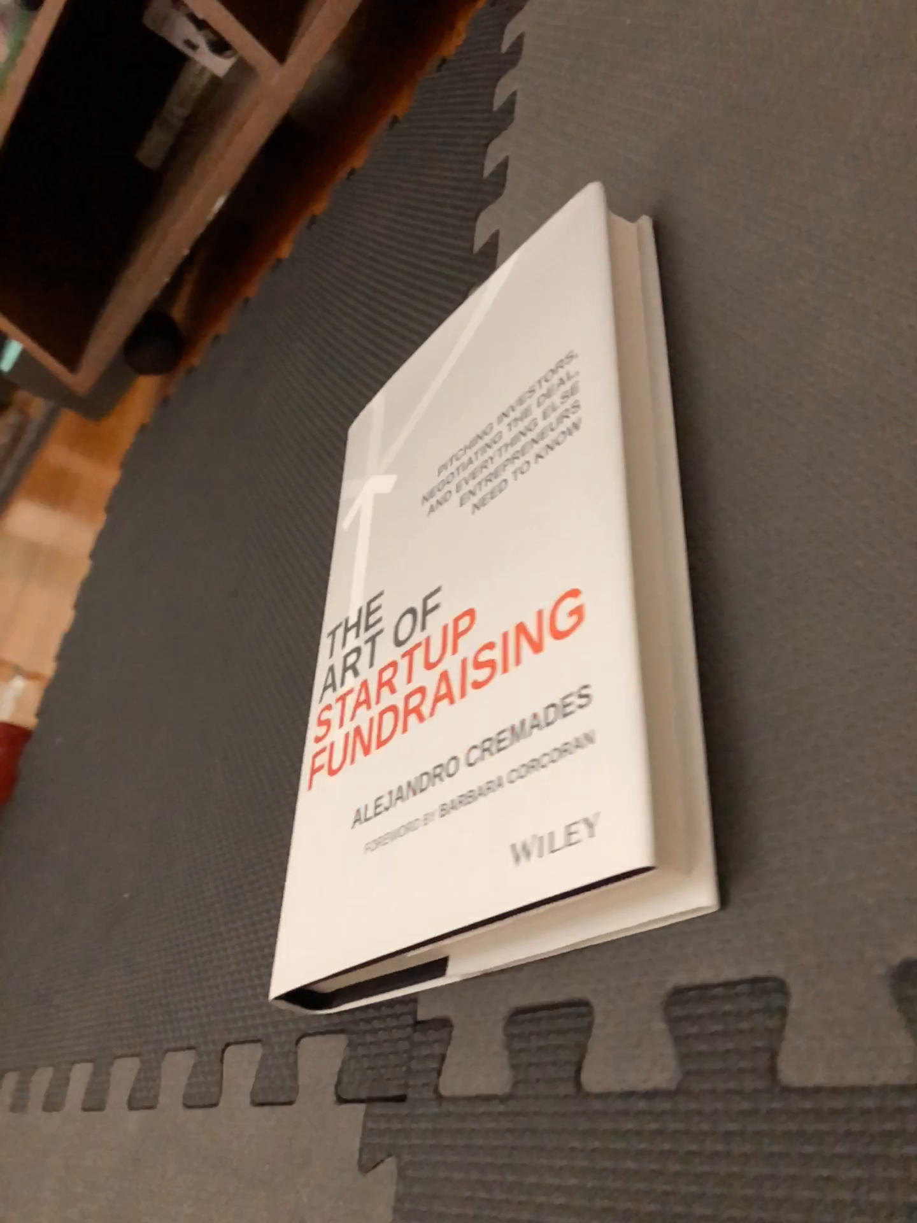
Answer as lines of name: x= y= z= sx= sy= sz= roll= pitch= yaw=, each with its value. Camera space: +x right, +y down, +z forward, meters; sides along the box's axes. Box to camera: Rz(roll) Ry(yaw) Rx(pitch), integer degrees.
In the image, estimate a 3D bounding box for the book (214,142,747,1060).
book: x=0.001 y=-0.005 z=0.319 sx=0.170 sy=0.030 sz=0.251 roll=-33 pitch=41 yaw=43
